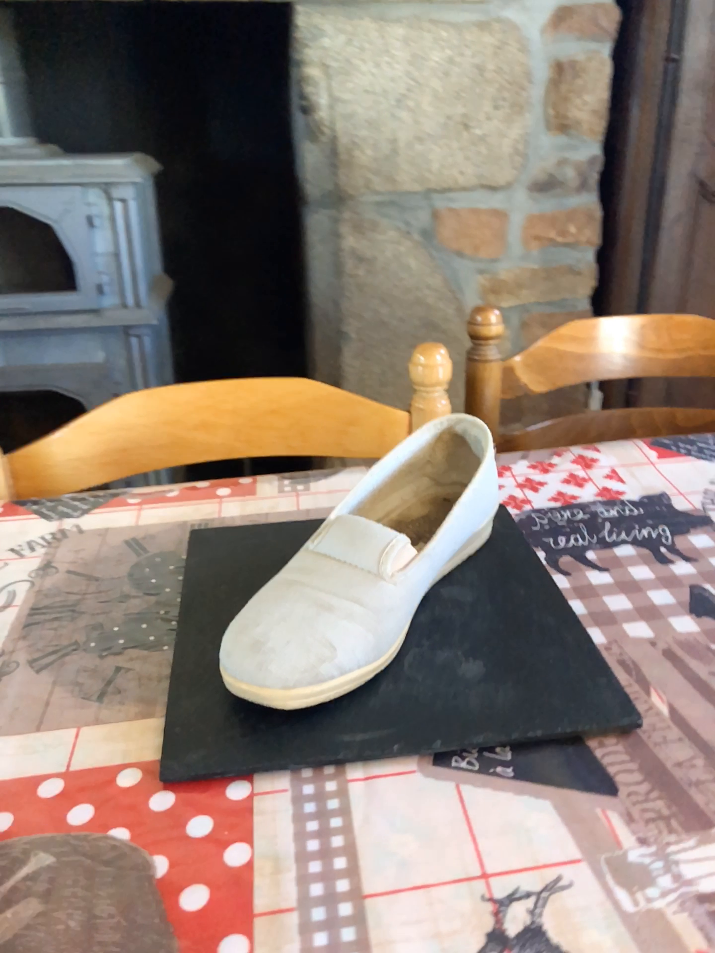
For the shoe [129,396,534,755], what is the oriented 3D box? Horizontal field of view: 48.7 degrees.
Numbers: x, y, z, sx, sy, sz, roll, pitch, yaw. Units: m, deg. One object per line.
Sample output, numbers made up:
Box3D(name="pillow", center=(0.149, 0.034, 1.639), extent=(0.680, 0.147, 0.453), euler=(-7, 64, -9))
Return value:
Box3D(name="shoe", center=(0.004, 0.034, 0.460), extent=(0.100, 0.080, 0.252), euler=(14, 29, 31))
